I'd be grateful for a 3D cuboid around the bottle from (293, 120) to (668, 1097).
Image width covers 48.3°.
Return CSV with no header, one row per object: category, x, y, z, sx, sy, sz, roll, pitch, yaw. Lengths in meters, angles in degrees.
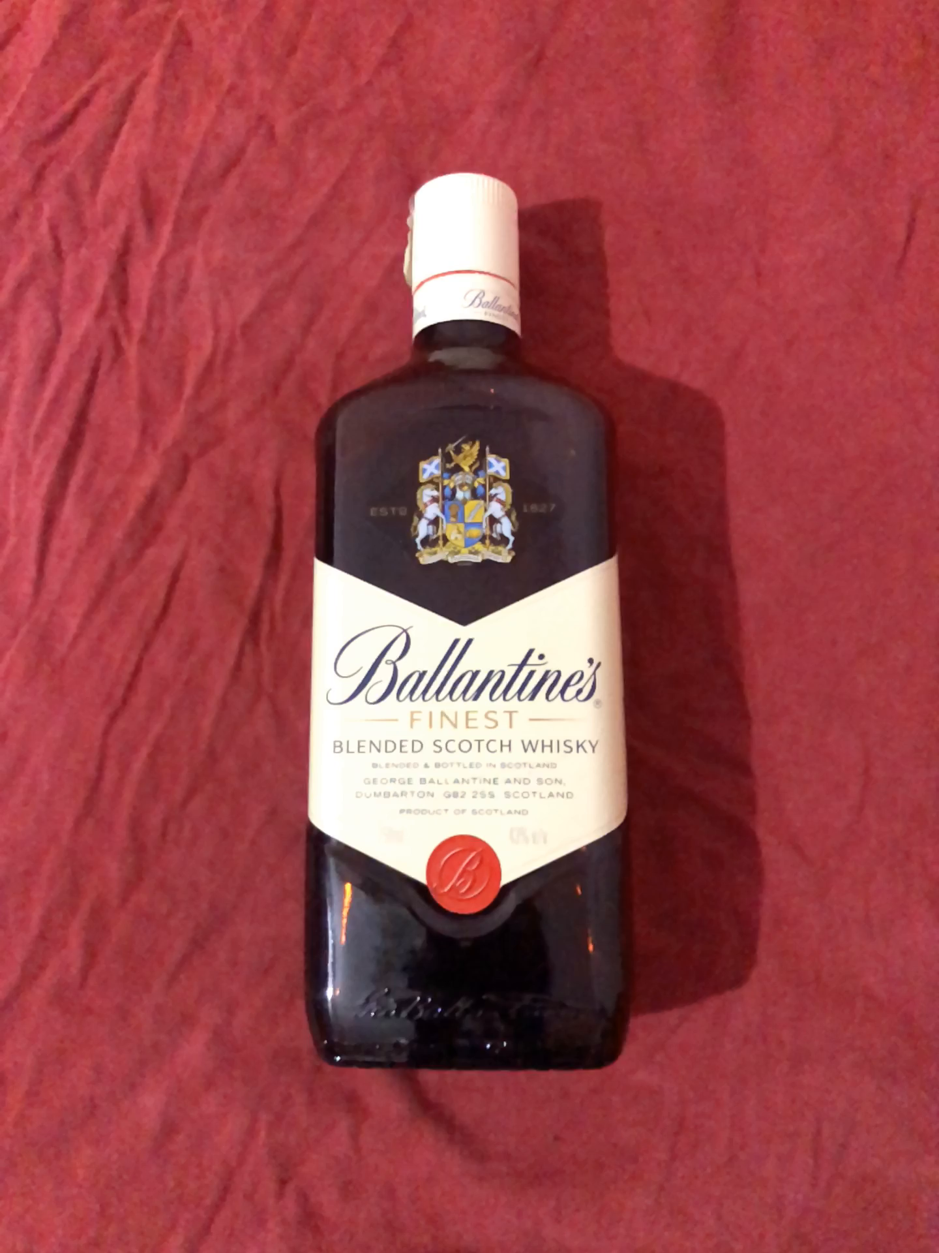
bottle,0.003,-0.009,0.291,0.090,0.050,0.250,0,83,0
